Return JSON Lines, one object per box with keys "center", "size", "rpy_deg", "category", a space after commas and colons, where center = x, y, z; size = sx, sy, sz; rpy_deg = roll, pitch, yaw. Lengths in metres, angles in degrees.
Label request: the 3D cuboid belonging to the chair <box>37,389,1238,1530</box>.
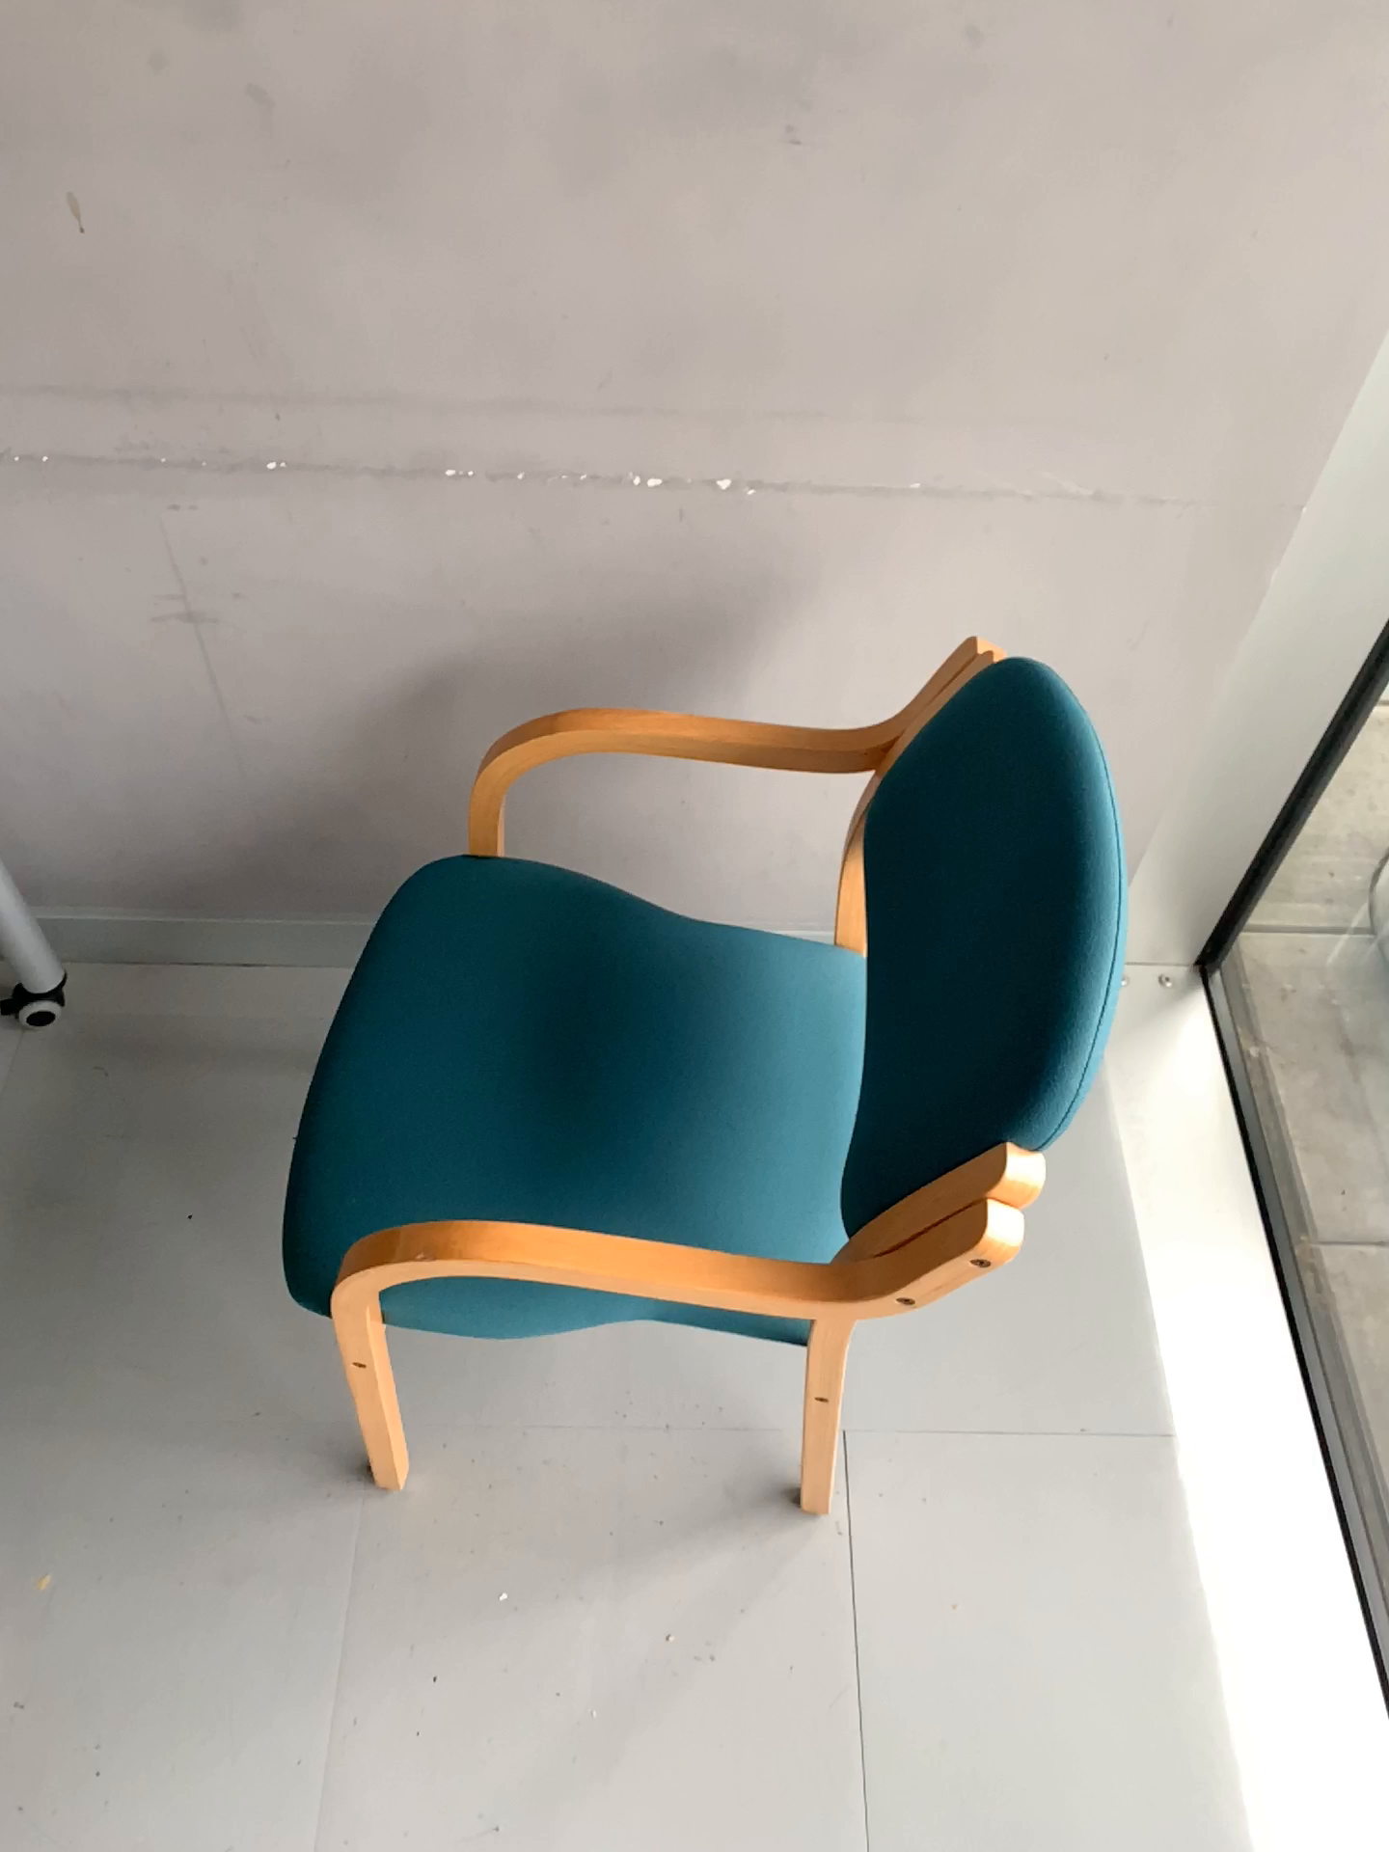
{"center": [-0.032, 0.066, 1.251], "size": [0.640, 0.724, 0.686], "rpy_deg": [3, 53, -1], "category": "chair"}
